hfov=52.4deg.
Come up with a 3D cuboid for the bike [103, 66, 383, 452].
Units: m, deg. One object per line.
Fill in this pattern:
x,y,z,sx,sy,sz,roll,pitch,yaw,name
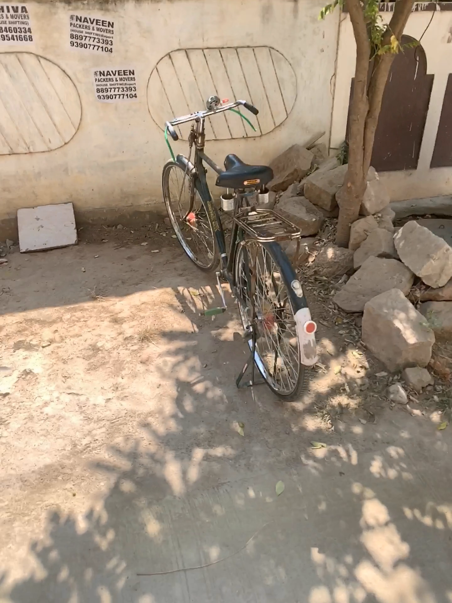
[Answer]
-0.087,-0.374,2.126,0.465,0.994,1.661,-13,37,-19,bike
